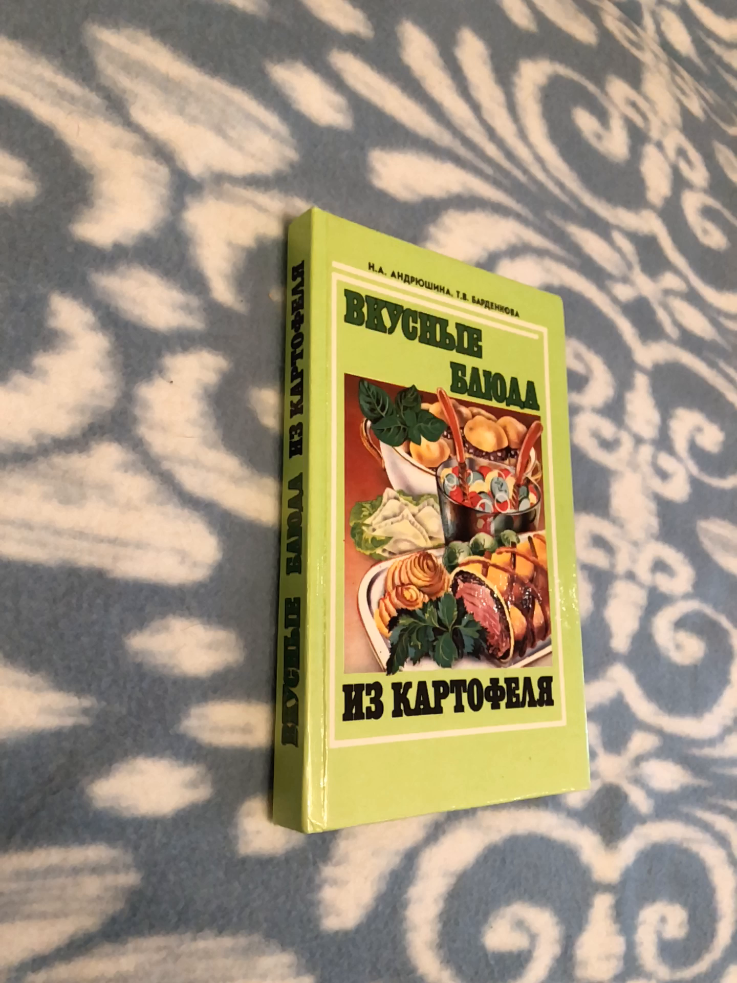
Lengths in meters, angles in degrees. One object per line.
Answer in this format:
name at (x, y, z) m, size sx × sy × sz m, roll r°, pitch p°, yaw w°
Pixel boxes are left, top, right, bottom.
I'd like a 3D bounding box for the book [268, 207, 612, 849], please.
book at (0.031, 0.013, 0.304) m, size 0.136 × 0.025 × 0.201 m, roll 7°, pitch 77°, yaw -35°
